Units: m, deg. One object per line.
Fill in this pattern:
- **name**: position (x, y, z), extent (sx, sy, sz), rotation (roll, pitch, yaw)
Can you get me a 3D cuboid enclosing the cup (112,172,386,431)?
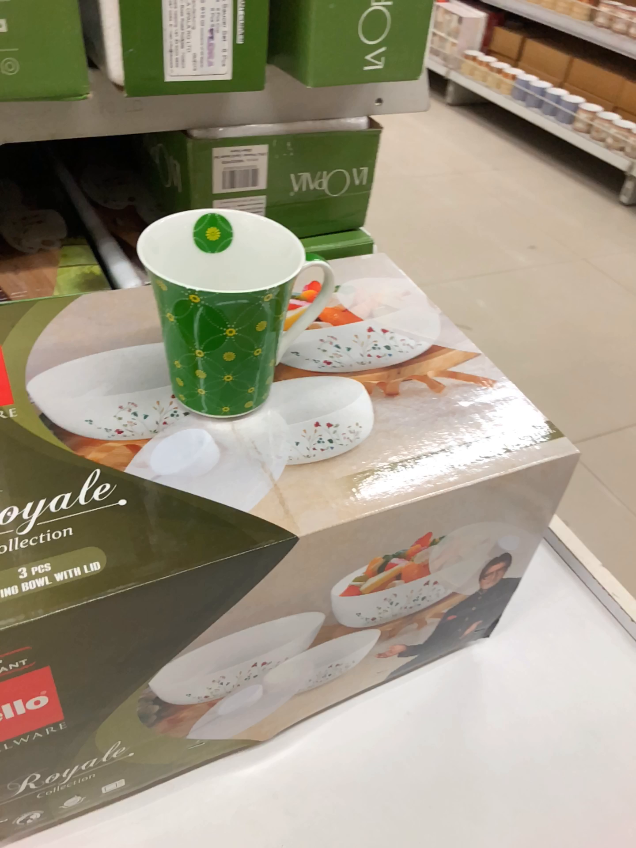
- **cup**: position (-0.041, -0.070, 0.378), extent (0.110, 0.089, 0.090), rotation (-13, 45, -23)
